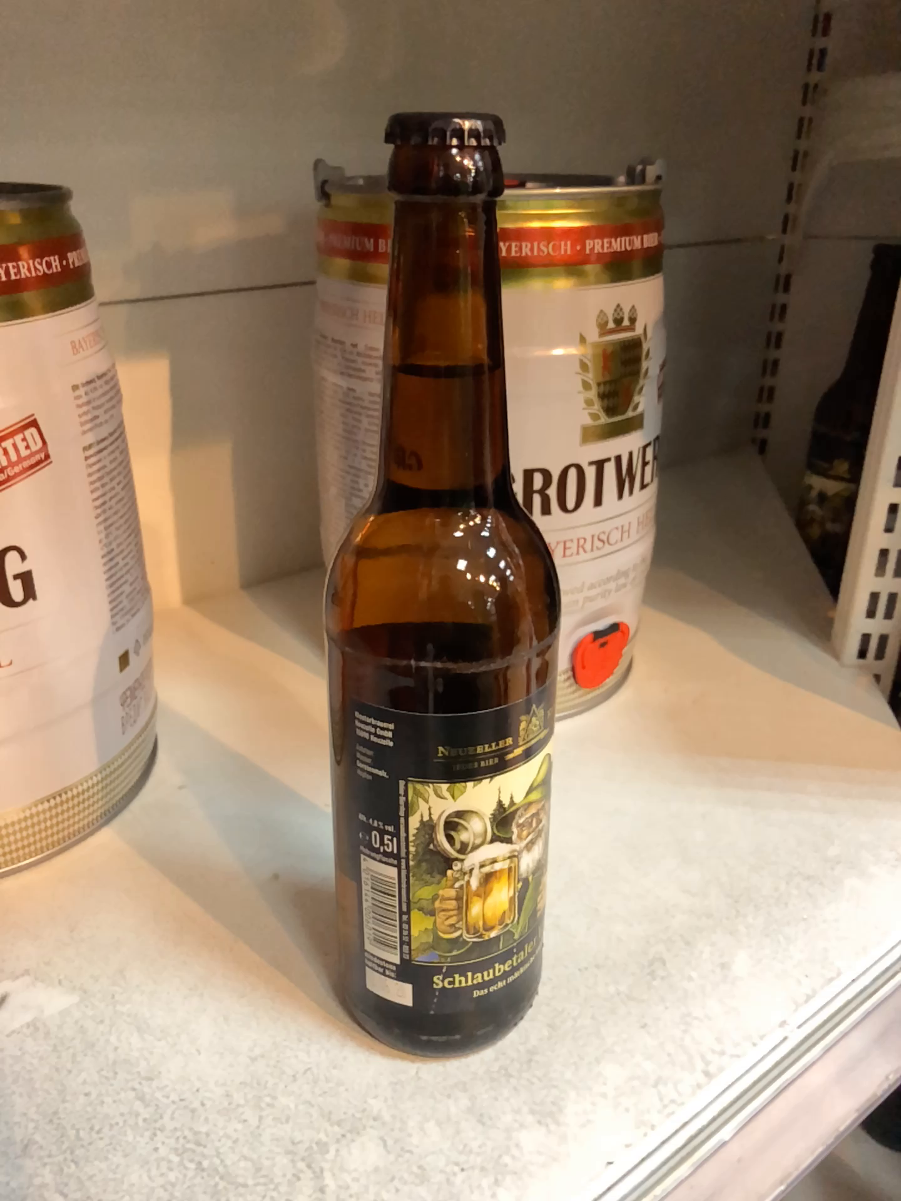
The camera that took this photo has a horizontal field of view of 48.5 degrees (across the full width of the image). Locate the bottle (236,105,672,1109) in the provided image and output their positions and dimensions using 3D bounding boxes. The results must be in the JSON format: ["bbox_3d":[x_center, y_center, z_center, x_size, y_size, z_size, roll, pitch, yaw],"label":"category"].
[{"bbox_3d":[0.000,0.008,0.274,0.071,0.257,0.064,-20,32,-36],"label":"bottle"}]
